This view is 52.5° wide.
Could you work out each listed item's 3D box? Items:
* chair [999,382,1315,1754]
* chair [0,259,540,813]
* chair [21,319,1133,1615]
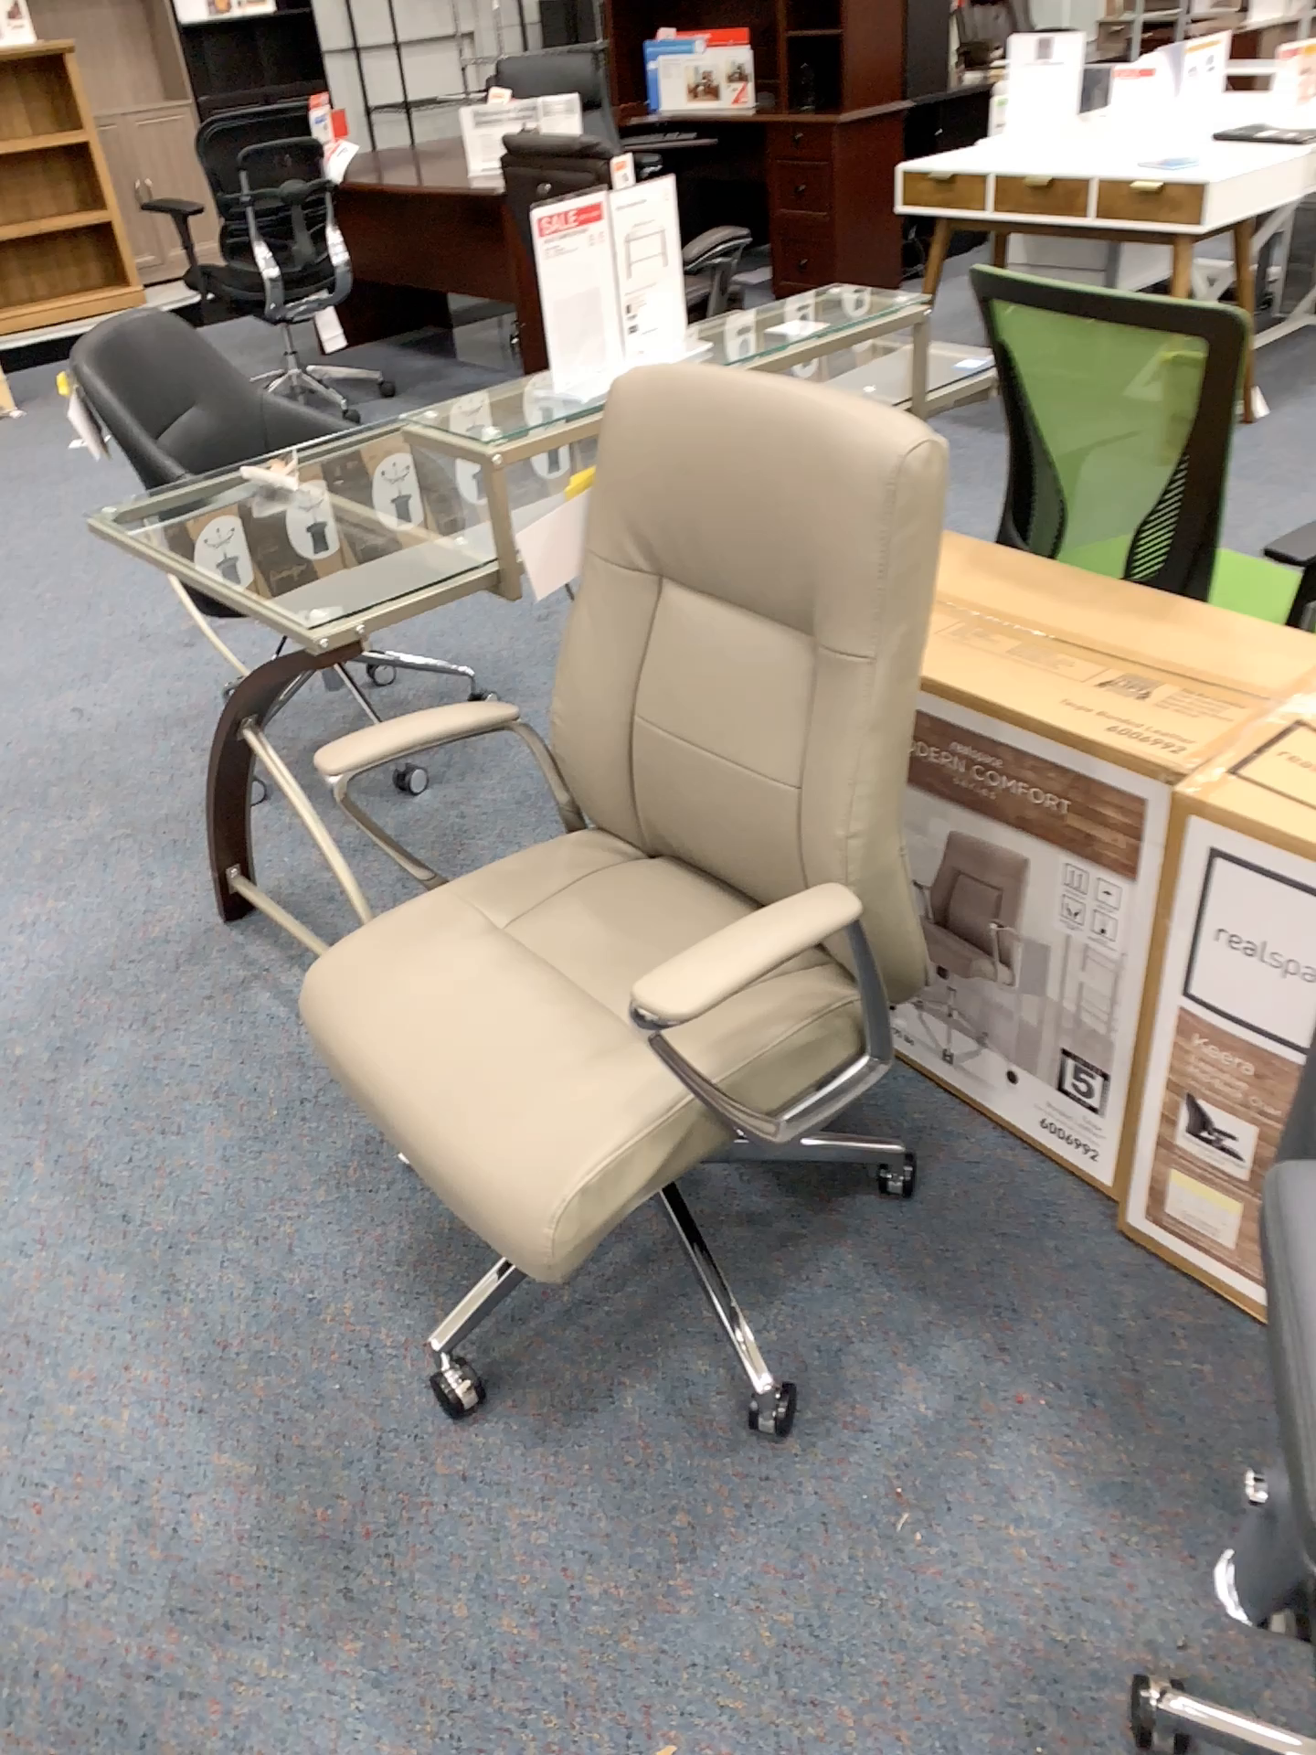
[{"bbox_3d":[0.689,0.385,0.736,0.812,1.055,0.818,7,36,19],"label":"chair"},{"bbox_3d":[-0.760,-0.708,2.743,0.754,0.856,0.765,2,35,11],"label":"chair"},{"bbox_3d":[-0.060,0.032,1.398,0.675,0.956,0.694,-27,39,-28],"label":"chair"}]
